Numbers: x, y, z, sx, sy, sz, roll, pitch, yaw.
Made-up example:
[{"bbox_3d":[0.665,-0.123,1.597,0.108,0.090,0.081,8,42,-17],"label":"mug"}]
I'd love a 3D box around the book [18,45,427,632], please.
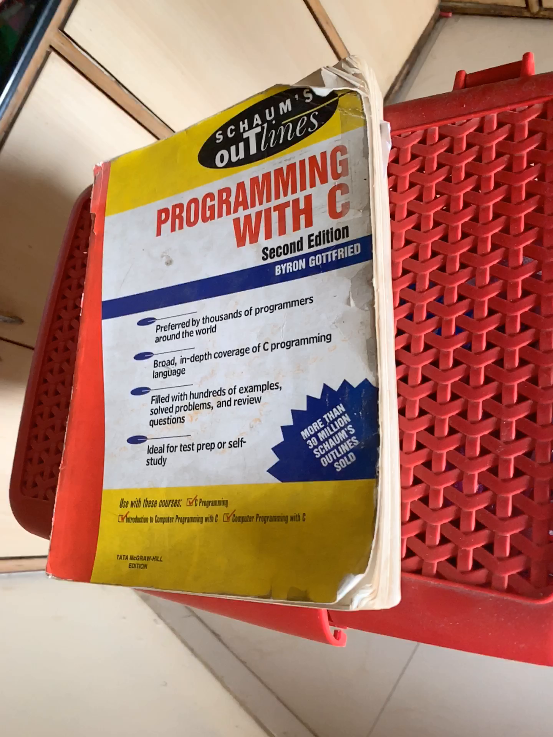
[{"bbox_3d":[-0.032,-0.013,0.301,0.201,0.050,0.250,-7,72,30],"label":"book"}]
